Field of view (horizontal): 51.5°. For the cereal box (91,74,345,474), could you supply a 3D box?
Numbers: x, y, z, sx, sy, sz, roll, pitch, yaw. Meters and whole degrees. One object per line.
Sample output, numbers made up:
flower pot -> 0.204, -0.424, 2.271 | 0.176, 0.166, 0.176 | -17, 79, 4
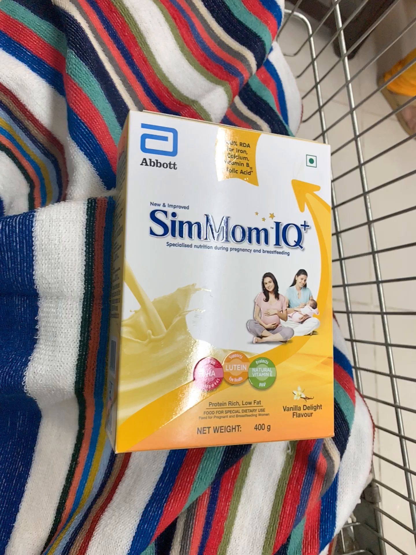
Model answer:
cereal box -> 0.009, 0.000, 0.261 | 0.140, 0.050, 0.200 | 4, 84, -19
